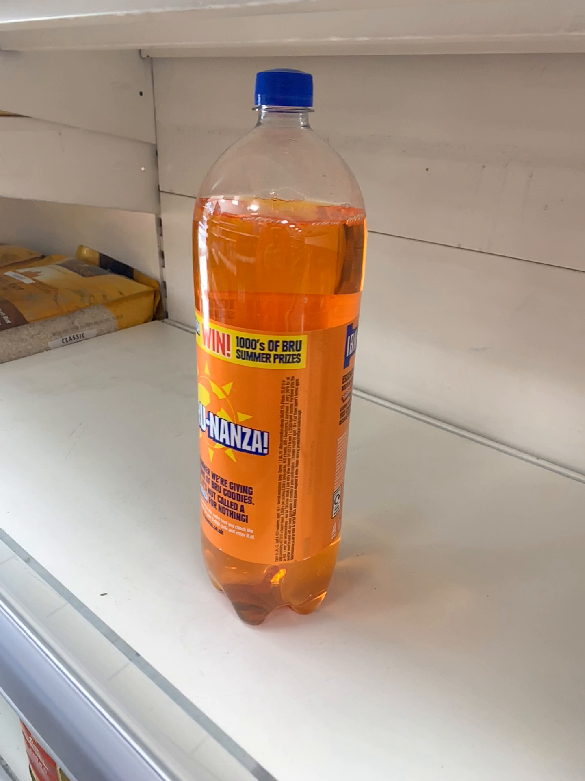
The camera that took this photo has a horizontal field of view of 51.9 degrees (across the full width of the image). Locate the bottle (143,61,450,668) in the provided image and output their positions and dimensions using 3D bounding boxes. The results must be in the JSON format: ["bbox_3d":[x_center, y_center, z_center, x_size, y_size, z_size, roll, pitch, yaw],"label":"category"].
[{"bbox_3d":[-0.006,-0.011,0.368,0.110,0.327,0.111,2,25,-1],"label":"bottle"}]
